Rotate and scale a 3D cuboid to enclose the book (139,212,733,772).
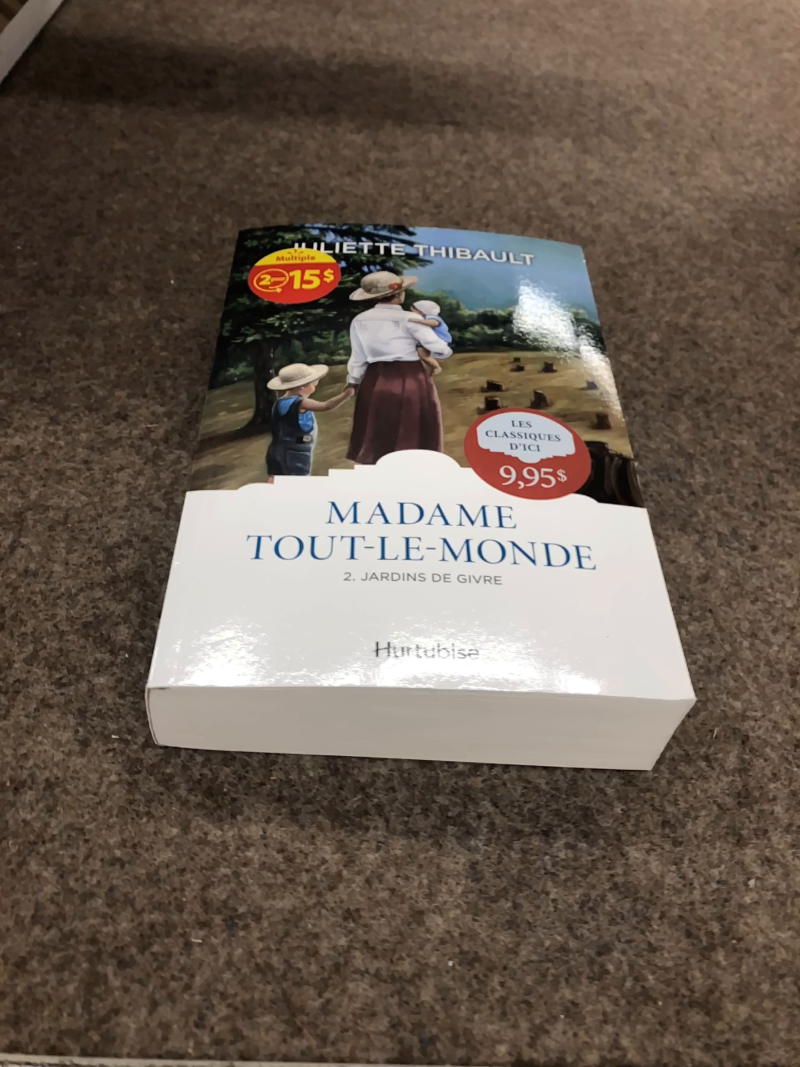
[{"bbox_3d":[0.010,-0.030,0.328,0.160,0.050,0.223,2,52,-2],"label":"book"}]
